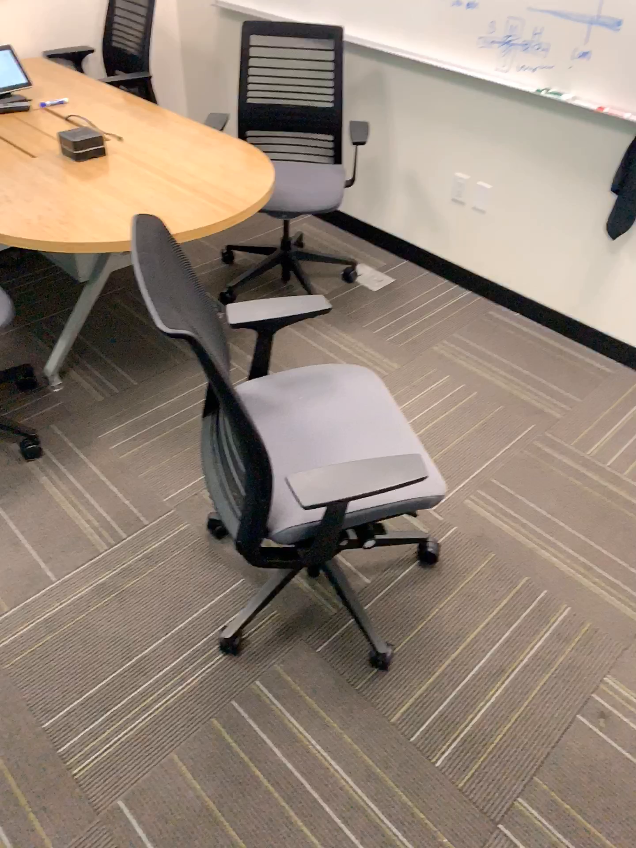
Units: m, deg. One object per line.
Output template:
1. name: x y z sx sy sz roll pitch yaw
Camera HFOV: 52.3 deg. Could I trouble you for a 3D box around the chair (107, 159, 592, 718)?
1. chair: -0.020 0.043 1.475 0.690 0.994 0.654 -9 43 -13
